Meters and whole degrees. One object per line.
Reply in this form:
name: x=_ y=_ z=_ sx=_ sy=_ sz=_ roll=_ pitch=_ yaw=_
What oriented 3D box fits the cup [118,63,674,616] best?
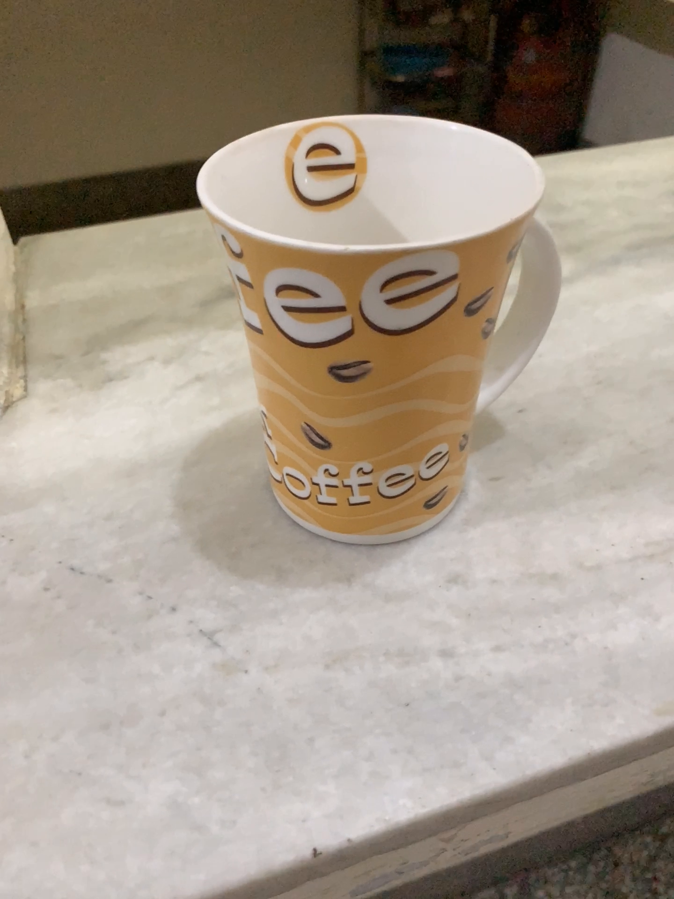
cup: x=0.012 y=-0.034 z=0.192 sx=0.100 sy=0.100 sz=0.080 roll=-20 pitch=45 yaw=-19
